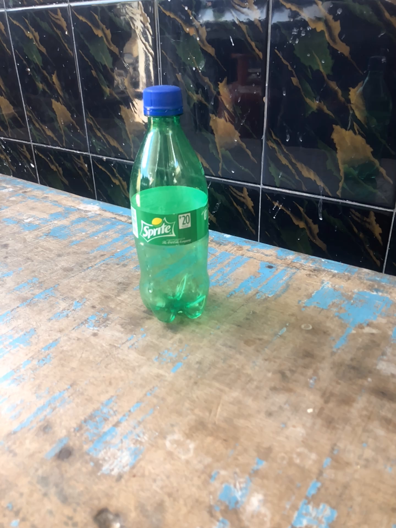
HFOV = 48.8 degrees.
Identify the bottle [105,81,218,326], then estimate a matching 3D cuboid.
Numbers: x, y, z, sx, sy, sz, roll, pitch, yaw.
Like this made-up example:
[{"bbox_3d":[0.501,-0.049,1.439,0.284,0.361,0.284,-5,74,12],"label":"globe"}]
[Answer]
[{"bbox_3d":[-0.018,-0.038,0.304,0.060,0.159,0.050,1,27,6],"label":"bottle"}]
